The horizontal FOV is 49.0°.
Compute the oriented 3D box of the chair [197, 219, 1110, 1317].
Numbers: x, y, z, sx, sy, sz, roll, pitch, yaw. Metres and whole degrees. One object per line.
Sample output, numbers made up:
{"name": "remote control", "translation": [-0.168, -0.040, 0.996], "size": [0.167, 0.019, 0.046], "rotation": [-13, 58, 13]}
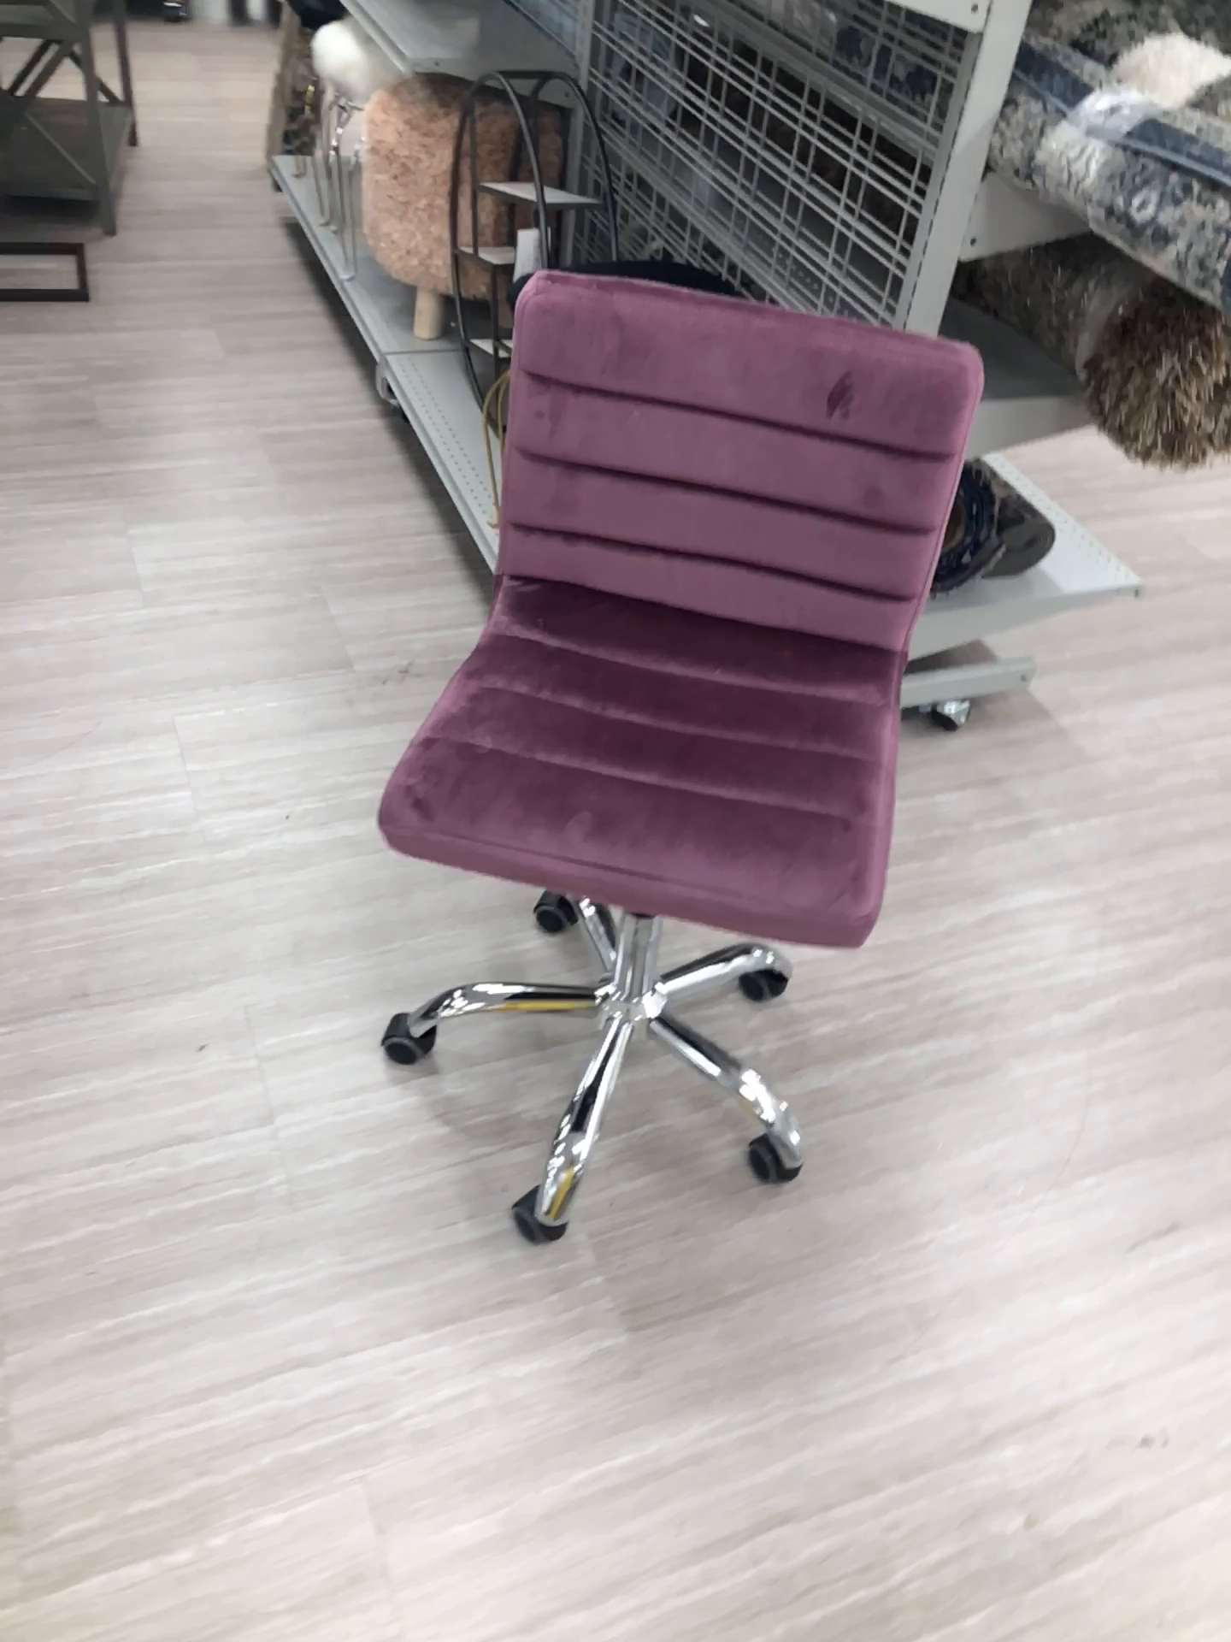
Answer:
{"name": "chair", "translation": [0.022, -0.038, 1.333], "size": [0.587, 0.800, 0.580], "rotation": [11, 42, 3]}
